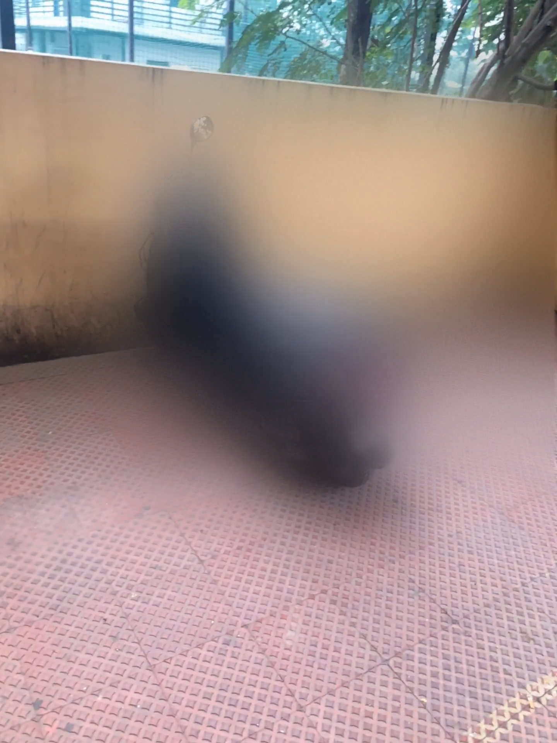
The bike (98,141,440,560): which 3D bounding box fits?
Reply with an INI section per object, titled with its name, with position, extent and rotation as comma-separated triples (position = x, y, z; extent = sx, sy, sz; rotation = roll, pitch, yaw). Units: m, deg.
[bike]
position = -0.188, -0.237, 2.571
extent = 0.579, 1.139, 1.486
rotation = -13, 32, -36
